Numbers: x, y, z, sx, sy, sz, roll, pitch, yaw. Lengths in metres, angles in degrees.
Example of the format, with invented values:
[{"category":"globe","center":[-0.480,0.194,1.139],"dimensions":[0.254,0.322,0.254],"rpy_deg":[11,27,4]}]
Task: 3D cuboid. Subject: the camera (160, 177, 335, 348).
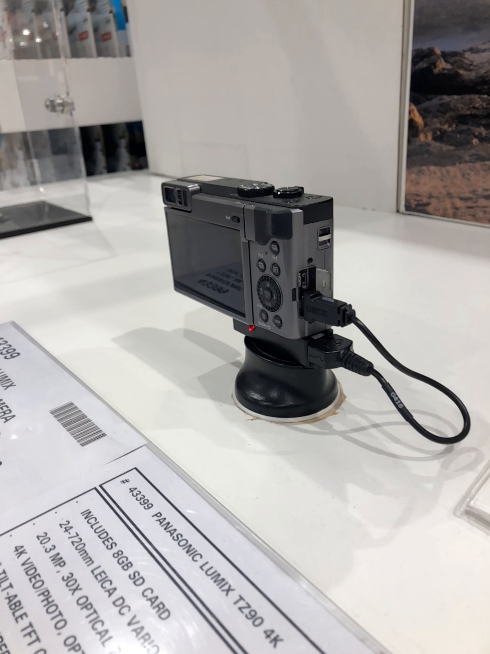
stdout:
[{"category":"camera","center":[-0.002,-0.040,0.288],"dimensions":[0.030,0.065,0.107],"rpy_deg":[-19,27,-32]}]
